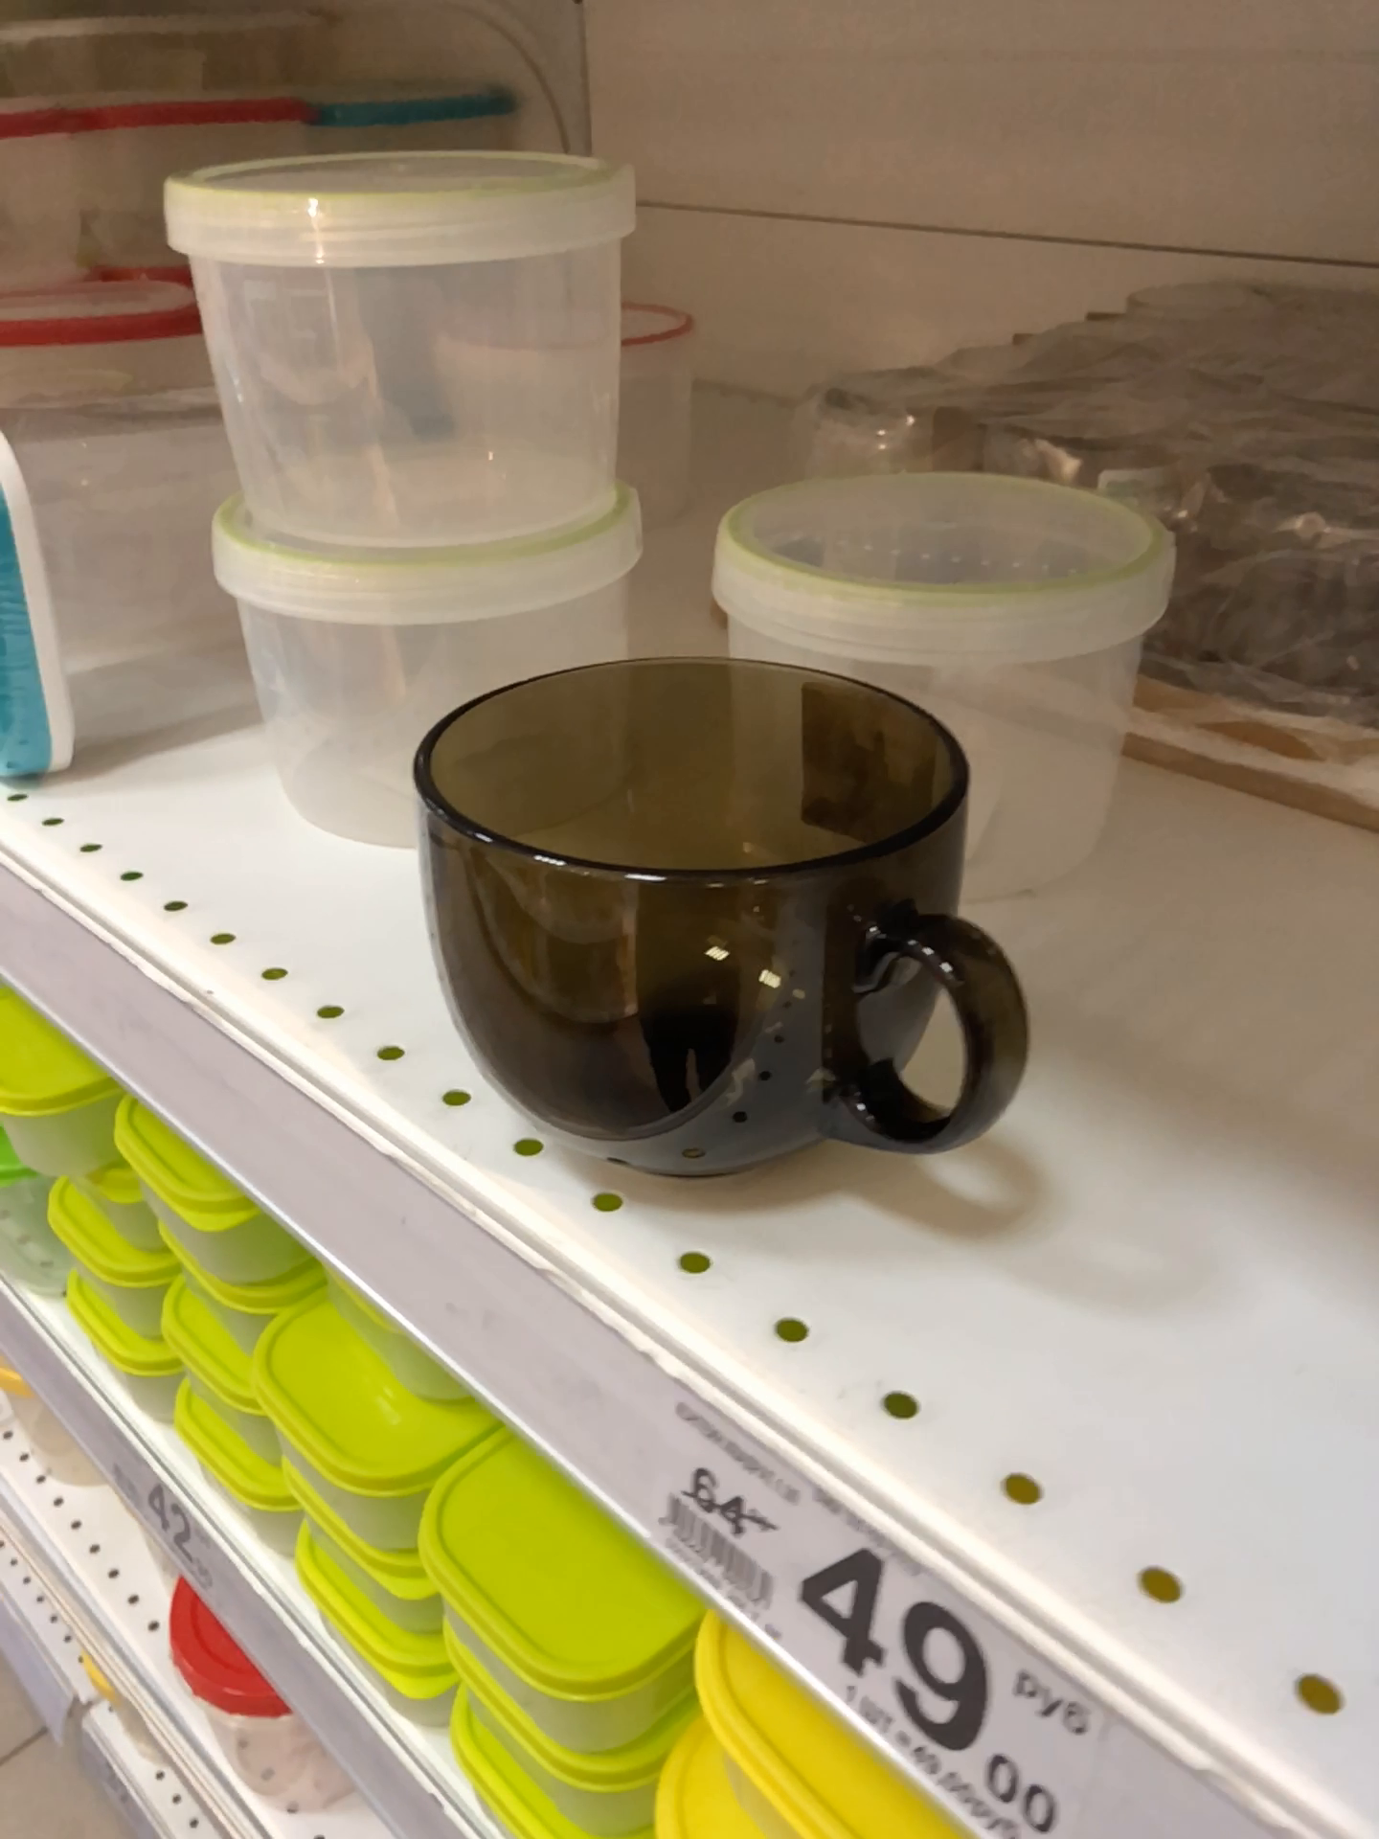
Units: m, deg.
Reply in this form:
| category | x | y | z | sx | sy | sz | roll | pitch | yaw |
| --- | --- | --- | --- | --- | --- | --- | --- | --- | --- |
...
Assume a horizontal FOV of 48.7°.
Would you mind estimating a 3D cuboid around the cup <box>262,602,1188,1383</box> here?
| category | x | y | z | sx | sy | sz | roll | pitch | yaw |
| --- | --- | --- | --- | --- | --- | --- | --- | --- | --- |
| cup | 0.005 | 0.000 | 0.299 | 0.136 | 0.071 | 0.105 | 25 | 40 | 37 |
